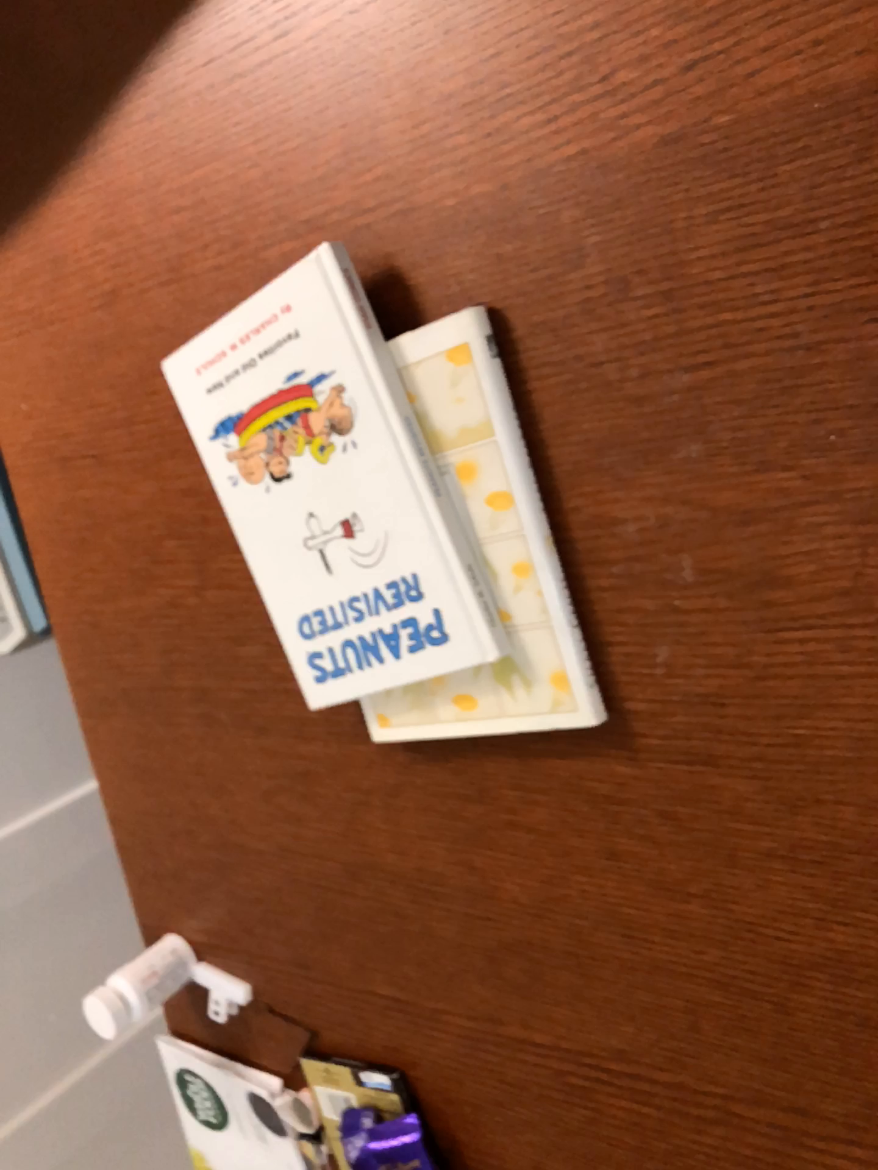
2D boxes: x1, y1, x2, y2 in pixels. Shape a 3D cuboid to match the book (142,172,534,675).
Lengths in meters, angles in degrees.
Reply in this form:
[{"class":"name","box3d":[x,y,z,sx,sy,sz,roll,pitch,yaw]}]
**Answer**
[{"class":"book","box3d":[-0.060,-0.072,0.508,0.161,0.020,0.210,-23,92,40]}]
